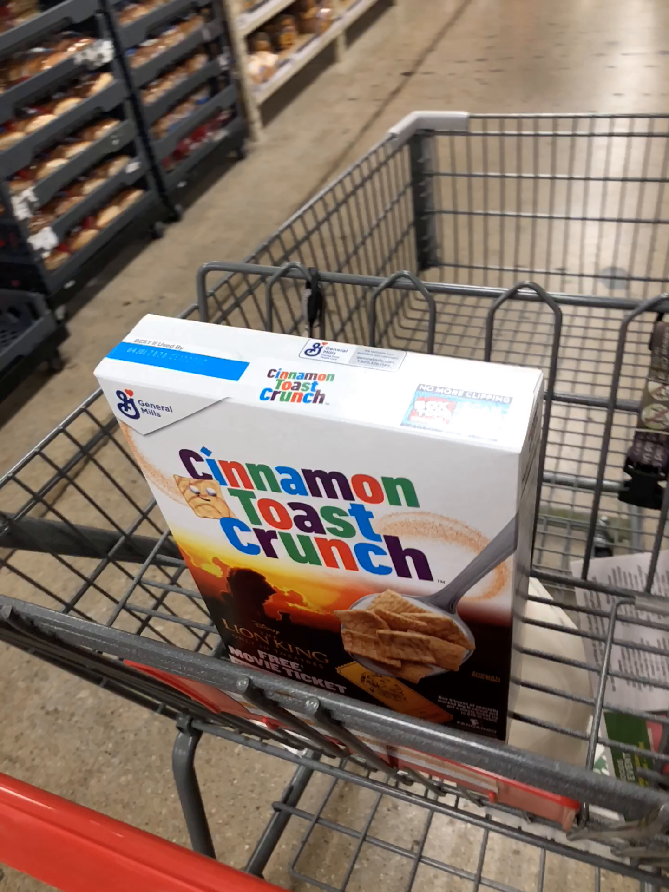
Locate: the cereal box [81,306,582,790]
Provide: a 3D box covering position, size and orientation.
[{"bbox_3d":[0.016,0.075,0.418,0.210,0.309,0.050,12,50,23],"label":"cereal box"}]
